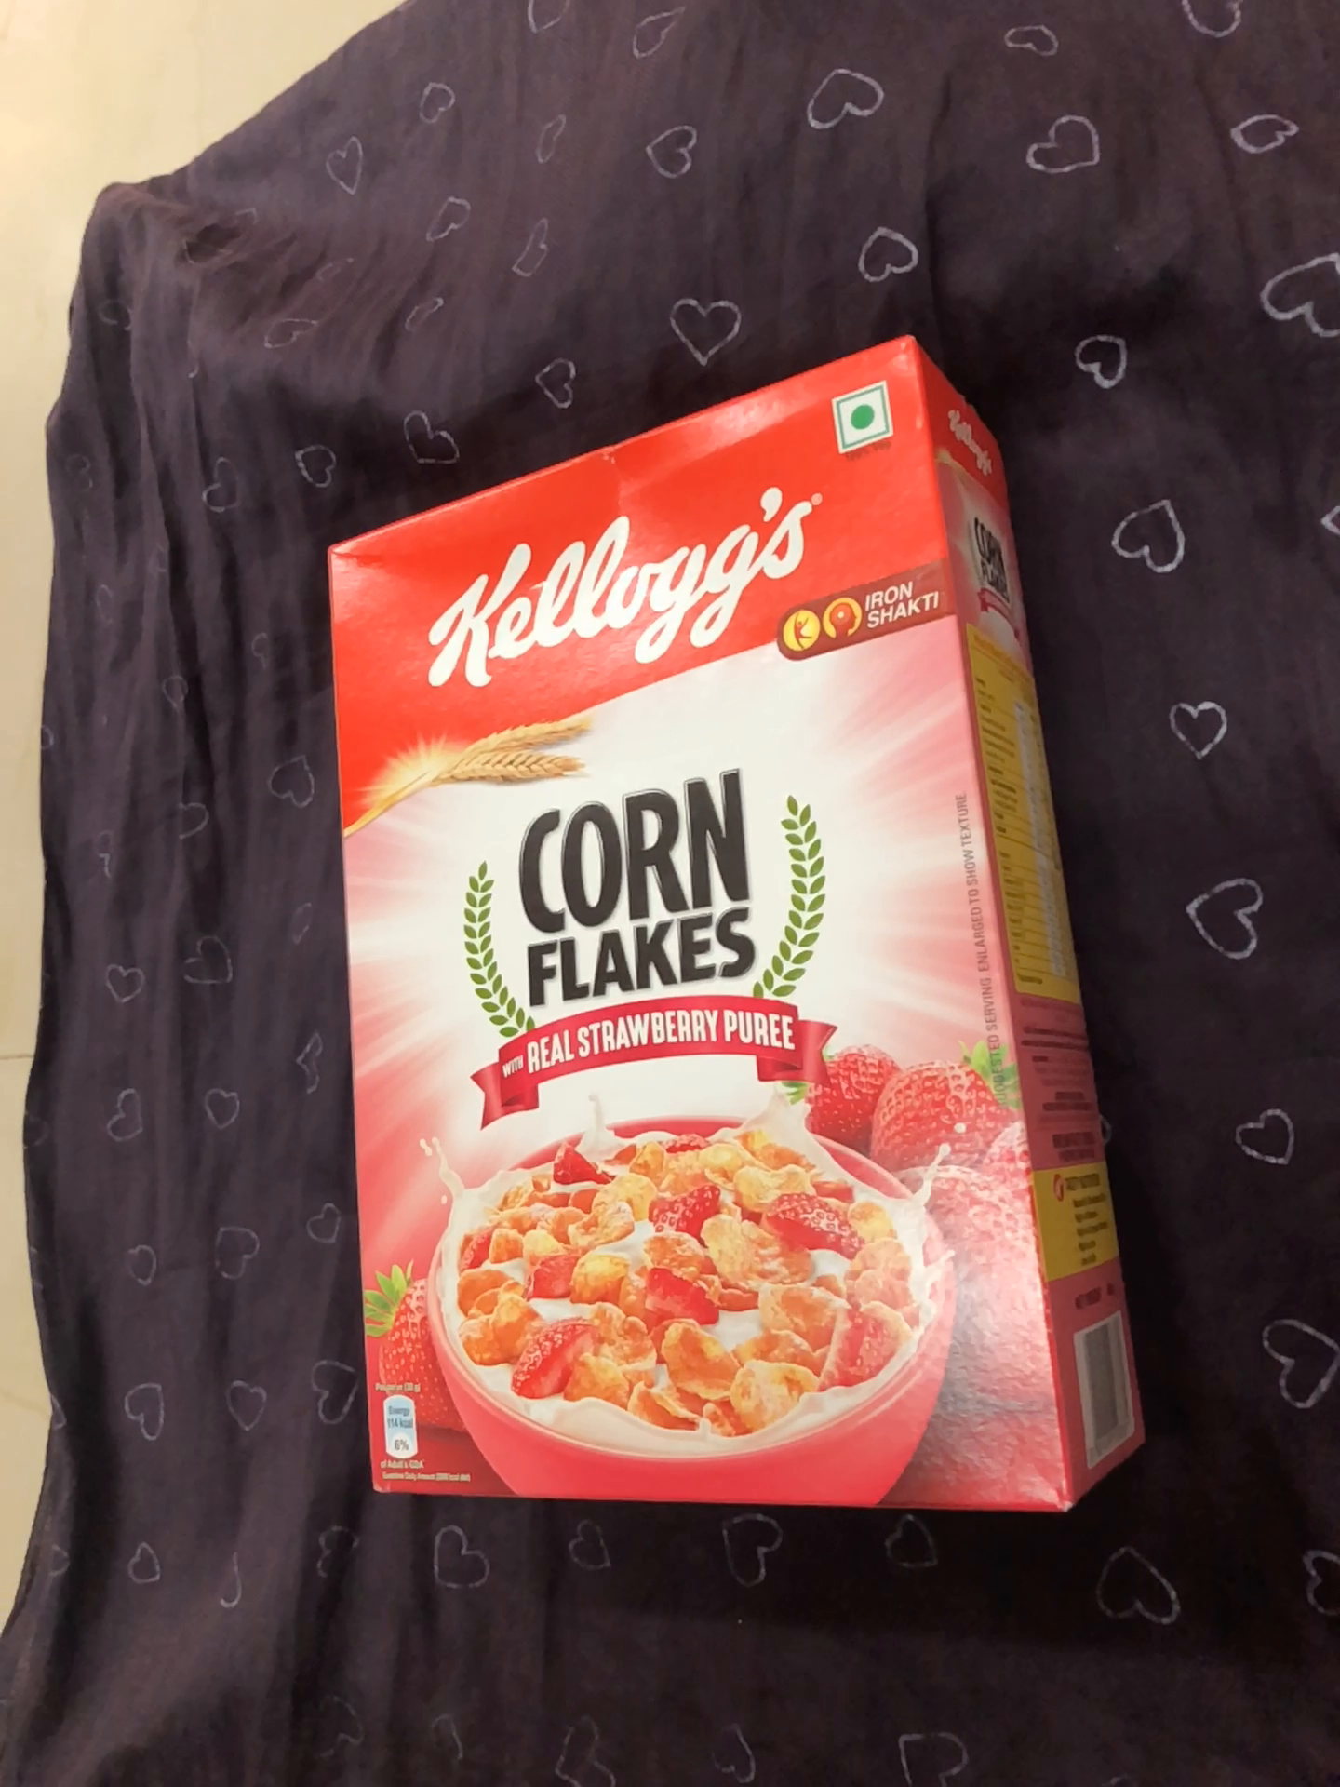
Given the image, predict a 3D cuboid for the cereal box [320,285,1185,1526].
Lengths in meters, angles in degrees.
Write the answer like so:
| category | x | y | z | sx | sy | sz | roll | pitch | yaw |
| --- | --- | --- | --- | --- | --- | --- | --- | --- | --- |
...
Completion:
| category | x | y | z | sx | sy | sz | roll | pitch | yaw |
| --- | --- | --- | --- | --- | --- | --- | --- | --- | --- |
| cereal box | 0.010 | 0.012 | 0.390 | 0.190 | 0.070 | 0.270 | -11 | 78 | 28 |
